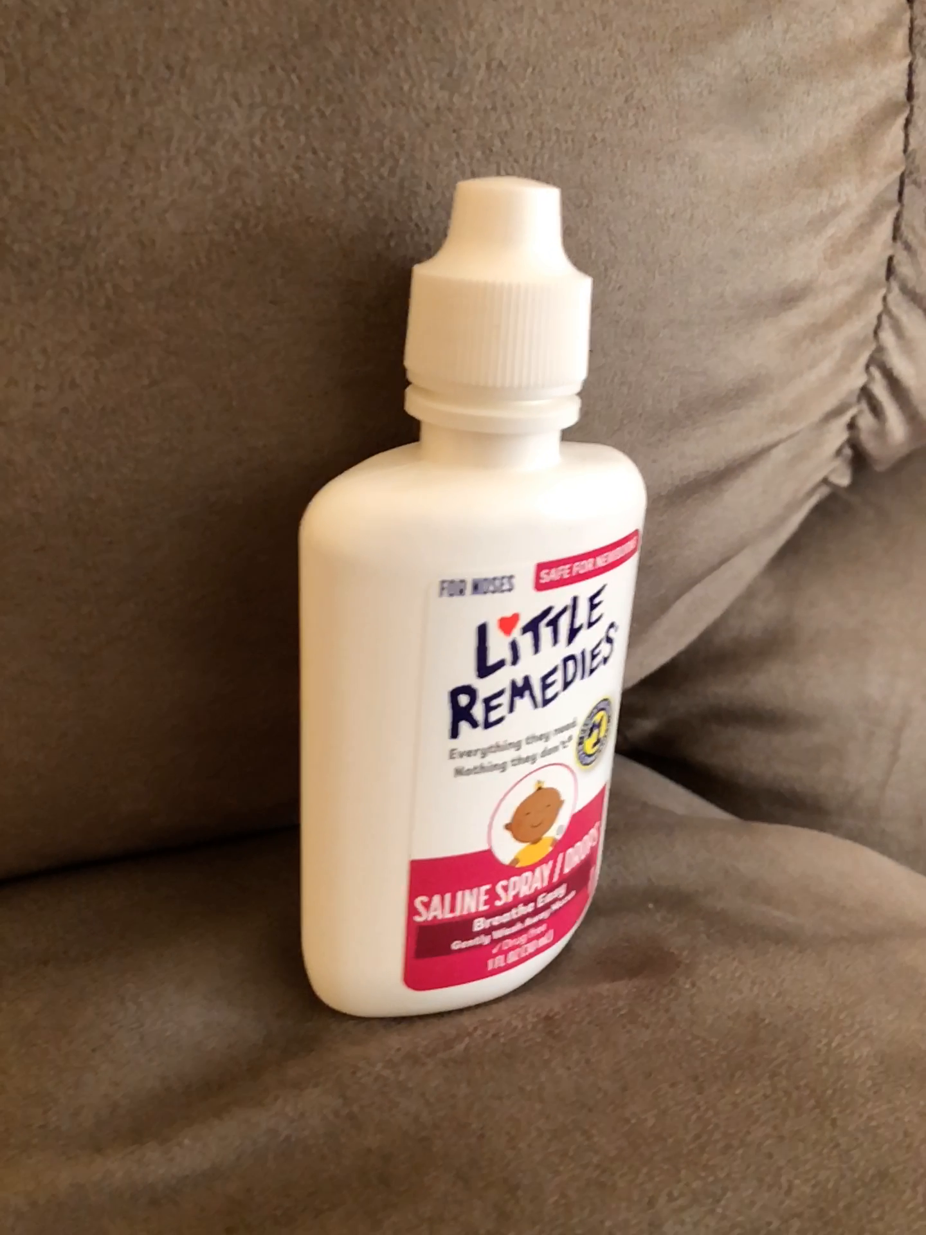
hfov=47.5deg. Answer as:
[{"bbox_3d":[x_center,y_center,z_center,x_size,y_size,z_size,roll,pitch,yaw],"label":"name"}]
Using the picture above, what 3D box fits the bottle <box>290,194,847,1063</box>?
[{"bbox_3d":[0.010,0.002,0.149,0.060,0.110,0.030,-10,29,-29],"label":"bottle"}]
